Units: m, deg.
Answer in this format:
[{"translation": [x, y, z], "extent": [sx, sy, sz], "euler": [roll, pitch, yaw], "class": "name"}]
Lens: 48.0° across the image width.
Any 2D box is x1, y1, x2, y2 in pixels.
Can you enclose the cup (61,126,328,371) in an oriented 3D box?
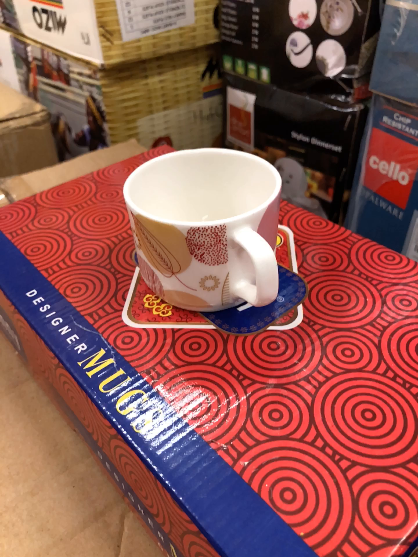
[{"translation": [-0.009, -0.020, 0.207], "extent": [0.070, 0.050, 0.090], "euler": [-25, 46, -27], "class": "cup"}]
